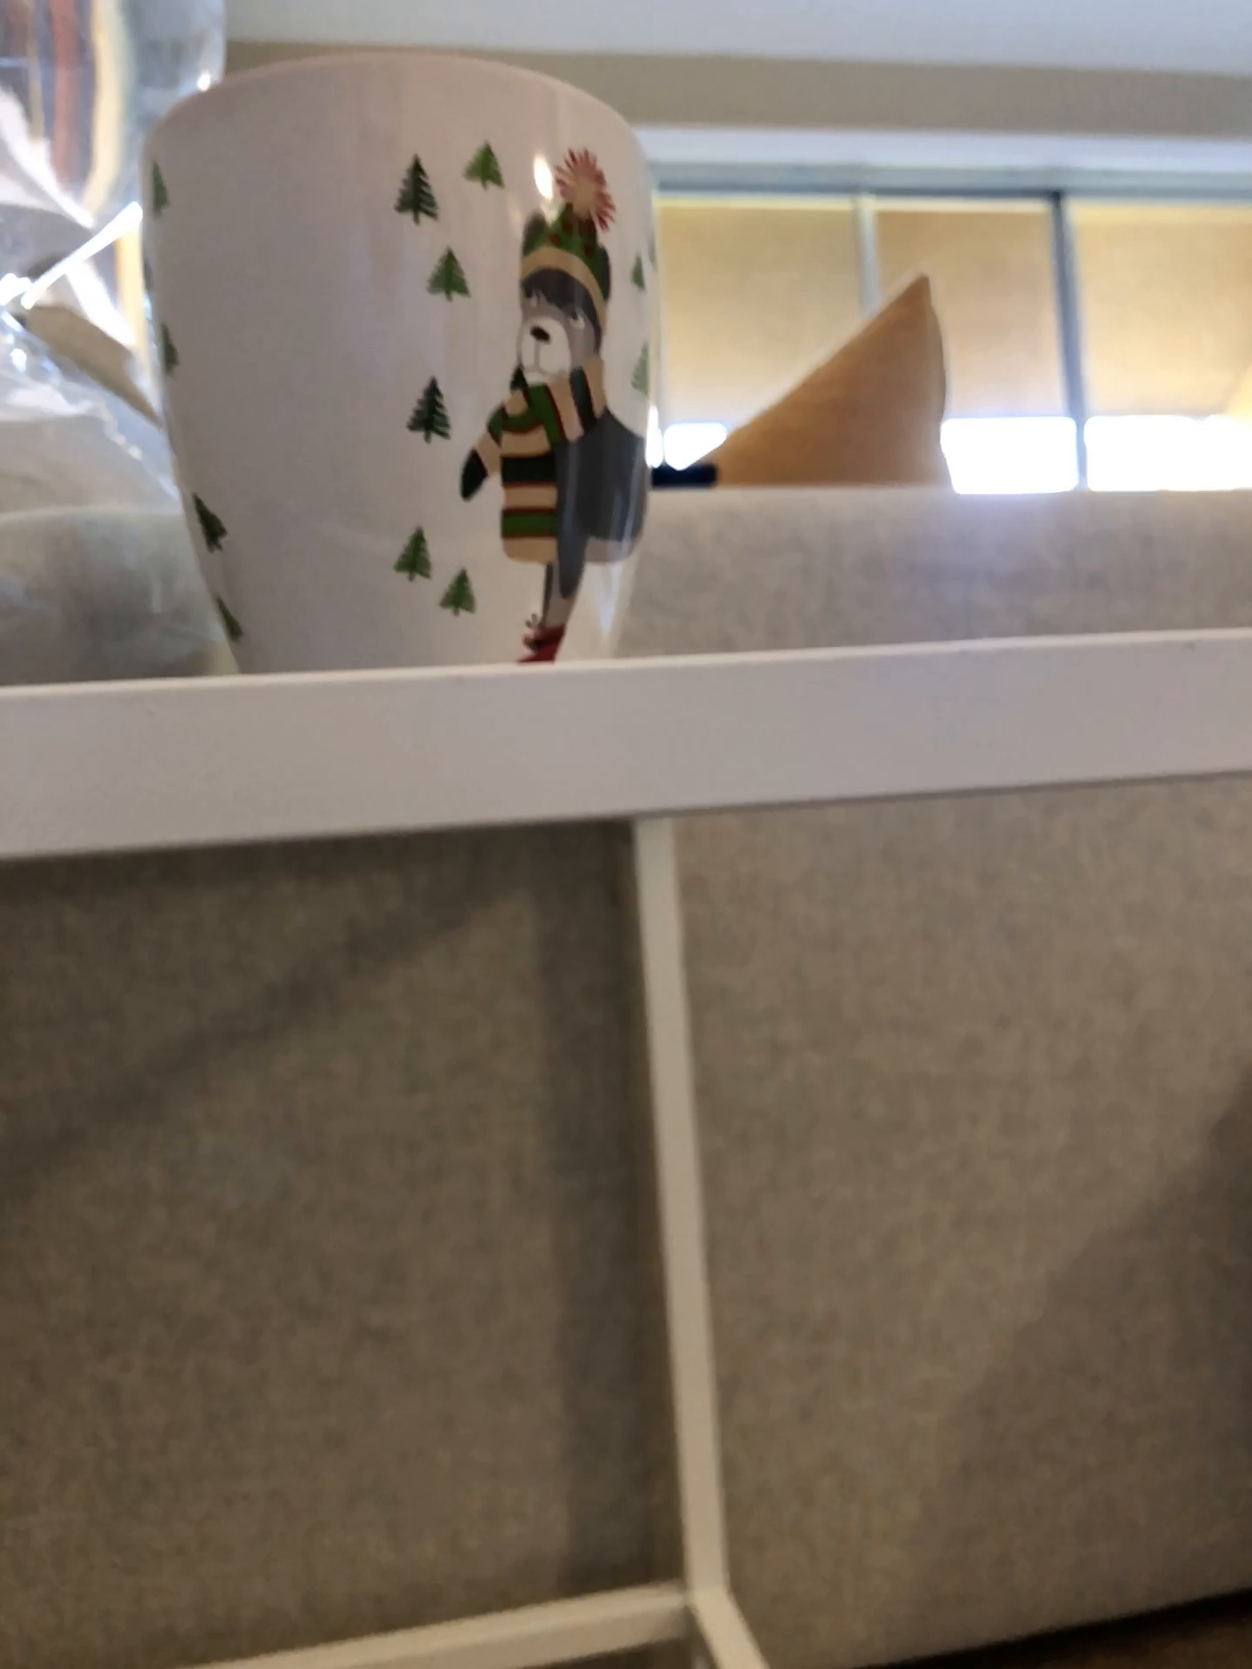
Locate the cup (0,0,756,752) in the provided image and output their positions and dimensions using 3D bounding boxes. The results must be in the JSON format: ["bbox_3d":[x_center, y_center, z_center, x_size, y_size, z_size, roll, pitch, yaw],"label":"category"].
[{"bbox_3d":[-0.037,-0.078,0.299,0.100,0.110,0.150,-4,1,14],"label":"cup"}]
